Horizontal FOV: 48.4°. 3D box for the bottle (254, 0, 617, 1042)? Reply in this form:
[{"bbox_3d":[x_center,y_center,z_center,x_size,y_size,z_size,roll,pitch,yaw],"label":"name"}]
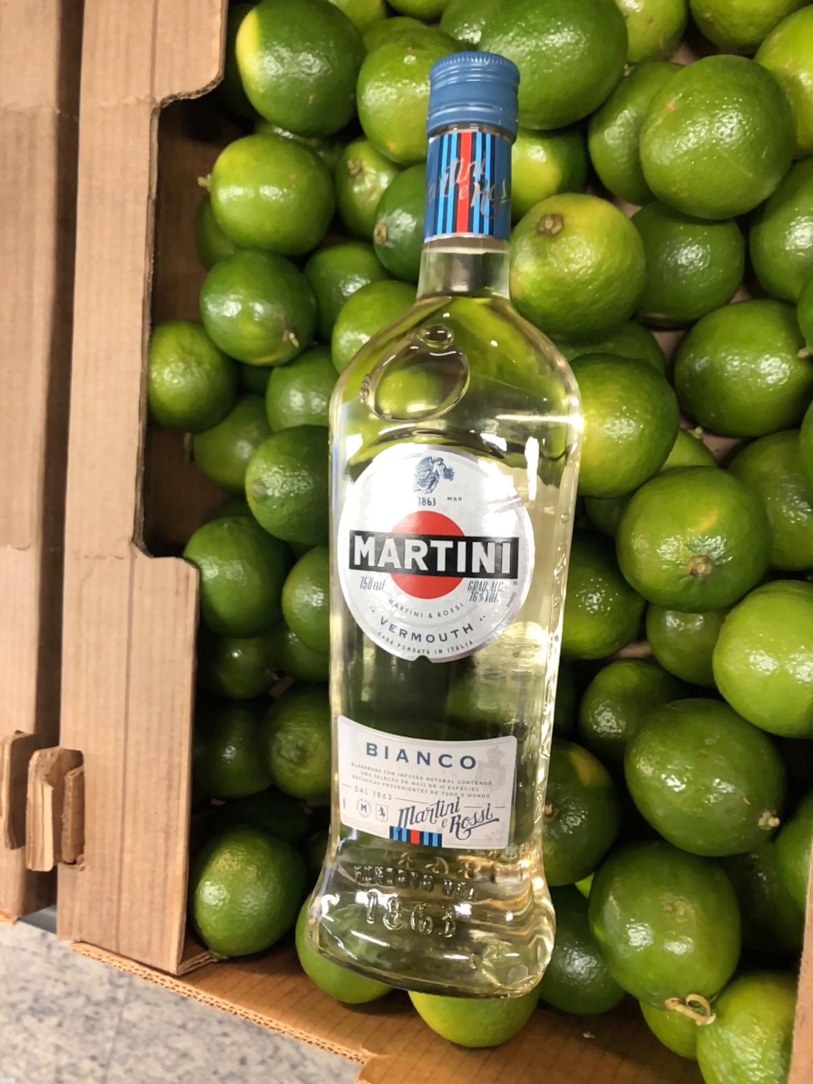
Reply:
[{"bbox_3d":[0.011,-0.012,0.312,0.100,0.050,0.320,3,91,22],"label":"bottle"}]
